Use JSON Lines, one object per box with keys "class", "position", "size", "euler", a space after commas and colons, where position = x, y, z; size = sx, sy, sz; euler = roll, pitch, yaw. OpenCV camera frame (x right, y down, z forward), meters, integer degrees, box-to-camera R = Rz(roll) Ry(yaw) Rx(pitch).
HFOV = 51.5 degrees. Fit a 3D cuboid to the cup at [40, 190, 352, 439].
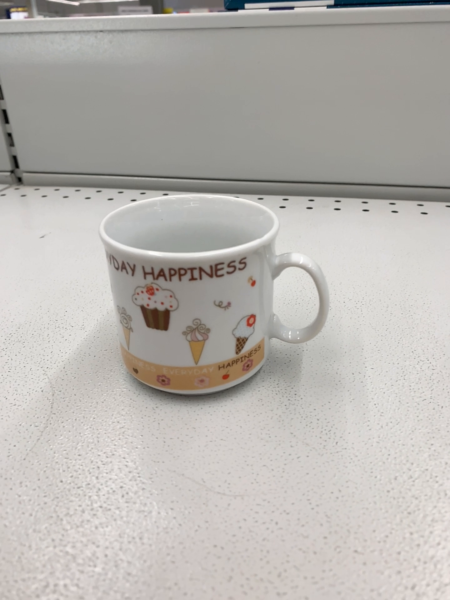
{"class": "cup", "position": [-0.004, -0.001, 0.205], "size": [0.109, 0.069, 0.079], "euler": [5, 29, 13]}
